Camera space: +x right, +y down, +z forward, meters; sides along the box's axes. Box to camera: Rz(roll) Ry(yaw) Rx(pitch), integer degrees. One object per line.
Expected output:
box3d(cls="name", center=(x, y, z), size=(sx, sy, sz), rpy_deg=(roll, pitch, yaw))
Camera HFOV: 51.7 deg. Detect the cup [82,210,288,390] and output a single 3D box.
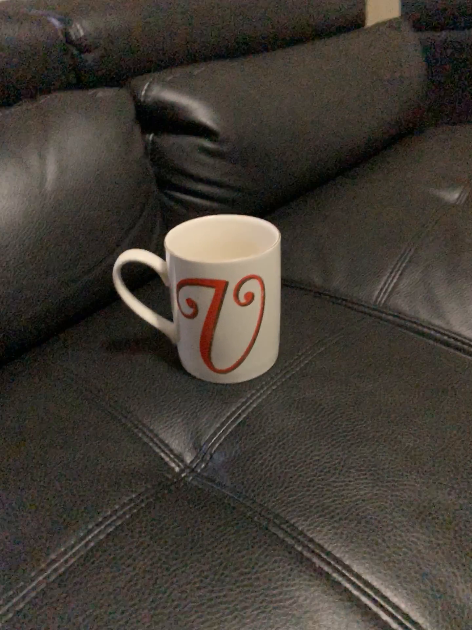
box3d(cls="cup", center=(-0.028, -0.015, 0.391), size=(0.138, 0.106, 0.098), rpy_deg=(0, 31, 6))
